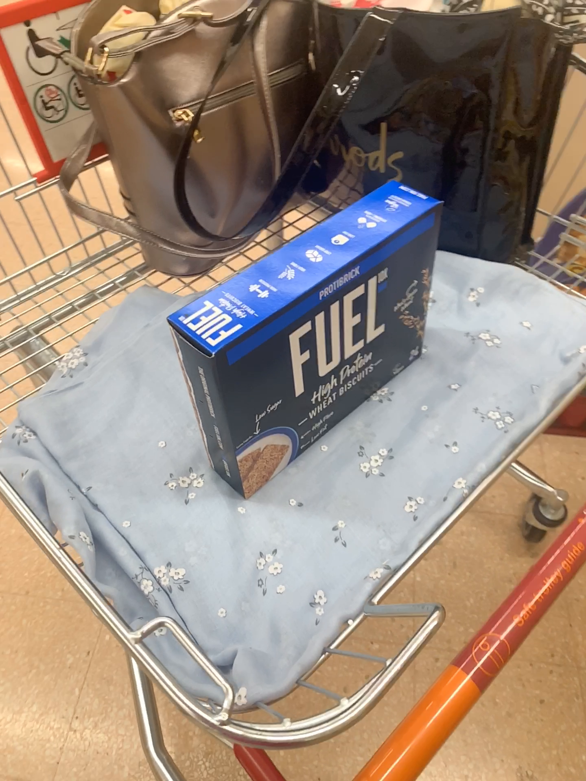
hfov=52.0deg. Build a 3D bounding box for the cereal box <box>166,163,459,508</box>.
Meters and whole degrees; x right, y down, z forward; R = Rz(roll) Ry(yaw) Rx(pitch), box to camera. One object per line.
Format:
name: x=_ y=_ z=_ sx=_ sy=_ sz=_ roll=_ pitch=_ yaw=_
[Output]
cereal box: x=0.026 y=-0.046 z=0.529 sx=0.251 sy=0.208 sz=0.060 roll=-37 pitch=59 yaw=-26
